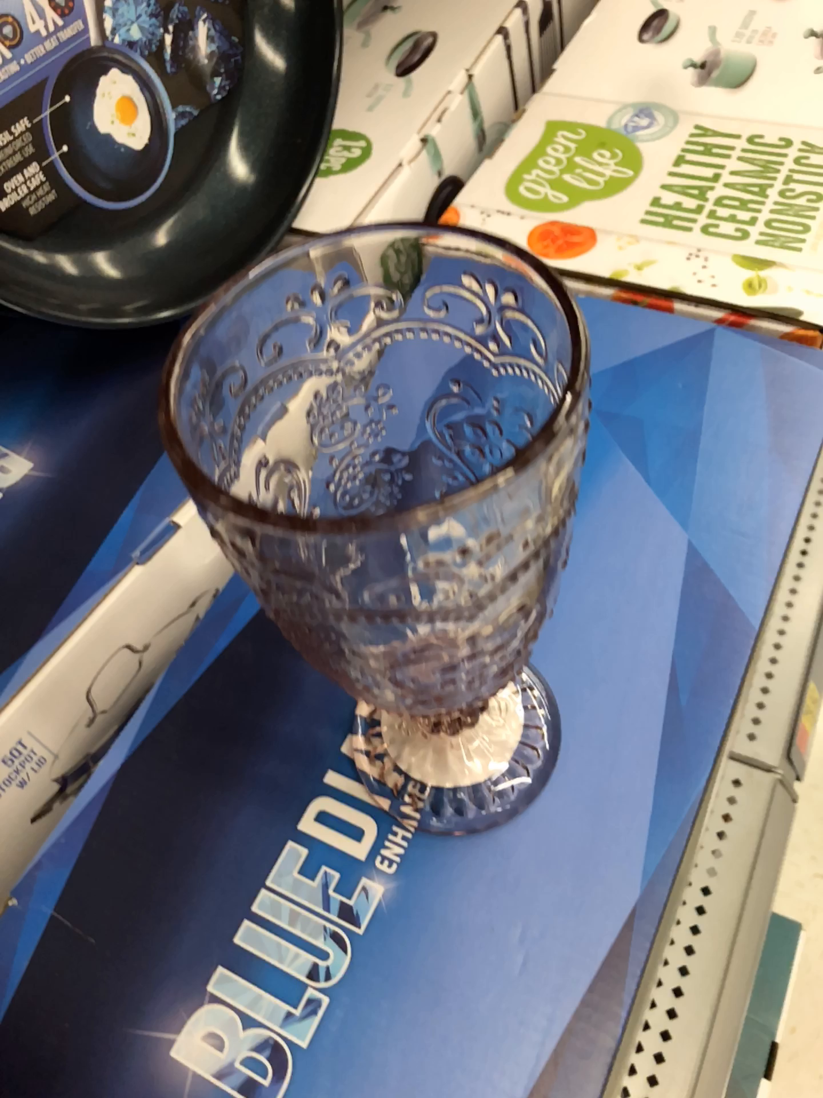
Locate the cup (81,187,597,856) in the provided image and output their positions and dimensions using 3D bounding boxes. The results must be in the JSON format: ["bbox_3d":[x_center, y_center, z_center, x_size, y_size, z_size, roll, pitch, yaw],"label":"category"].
[{"bbox_3d":[0.003,0.008,0.243,0.086,0.168,0.089,-5,55,7],"label":"cup"}]
